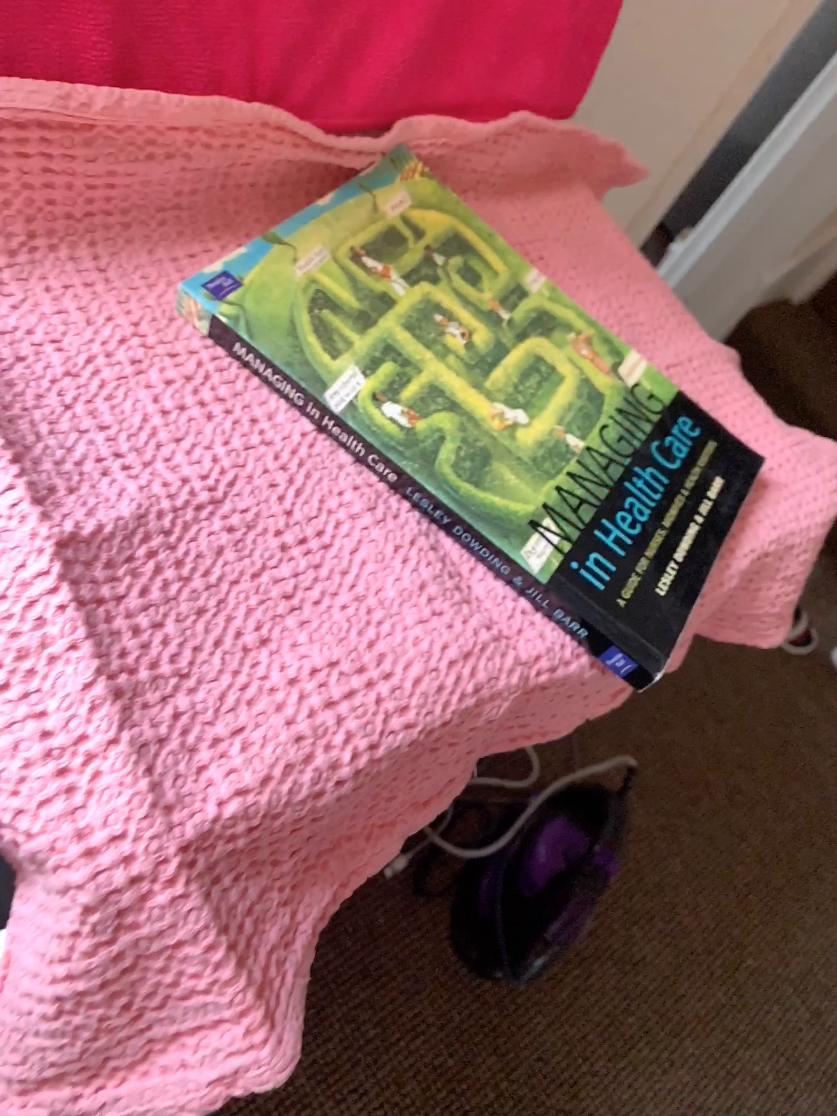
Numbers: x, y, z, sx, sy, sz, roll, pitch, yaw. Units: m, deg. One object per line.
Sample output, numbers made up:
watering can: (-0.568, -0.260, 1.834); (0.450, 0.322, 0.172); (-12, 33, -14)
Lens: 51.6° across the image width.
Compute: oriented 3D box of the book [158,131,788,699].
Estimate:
book: (0.040, -0.078, 0.375); (0.240, 0.020, 0.171); (39, 50, 1)
